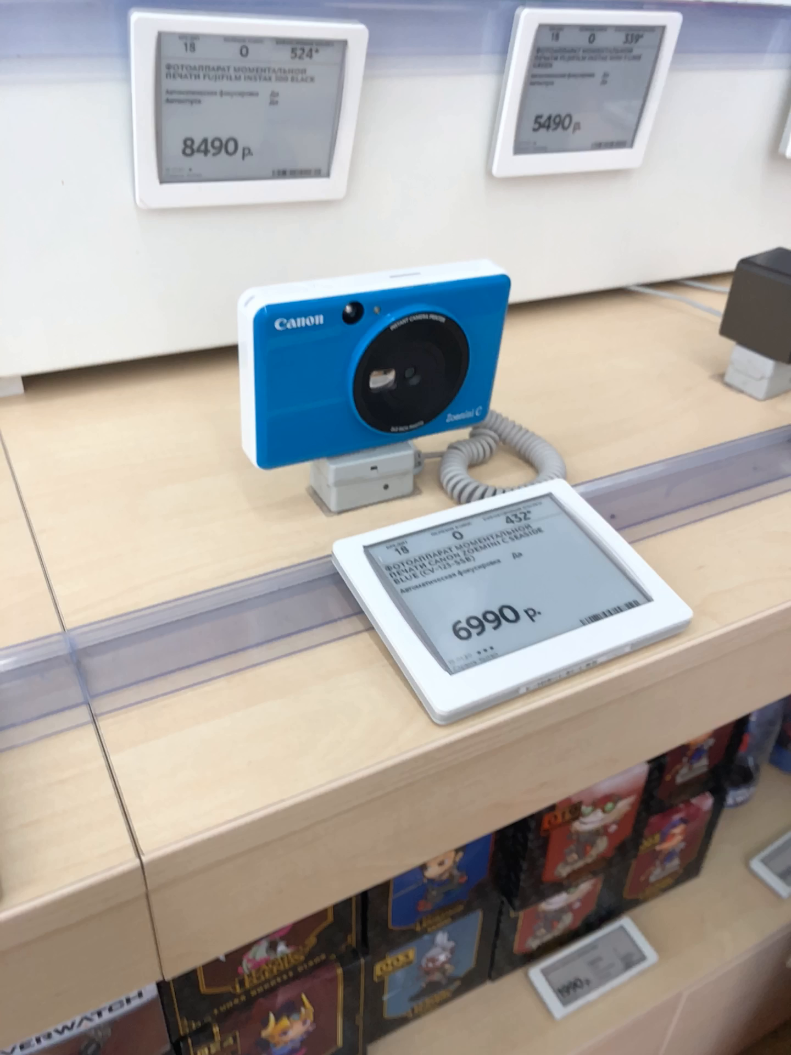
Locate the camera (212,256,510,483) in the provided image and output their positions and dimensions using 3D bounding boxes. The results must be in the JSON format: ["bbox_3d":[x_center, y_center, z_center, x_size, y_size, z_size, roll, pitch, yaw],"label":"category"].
[{"bbox_3d":[-0.014,-0.068,0.370,0.119,0.072,0.025,-15,43,-24],"label":"camera"}]
